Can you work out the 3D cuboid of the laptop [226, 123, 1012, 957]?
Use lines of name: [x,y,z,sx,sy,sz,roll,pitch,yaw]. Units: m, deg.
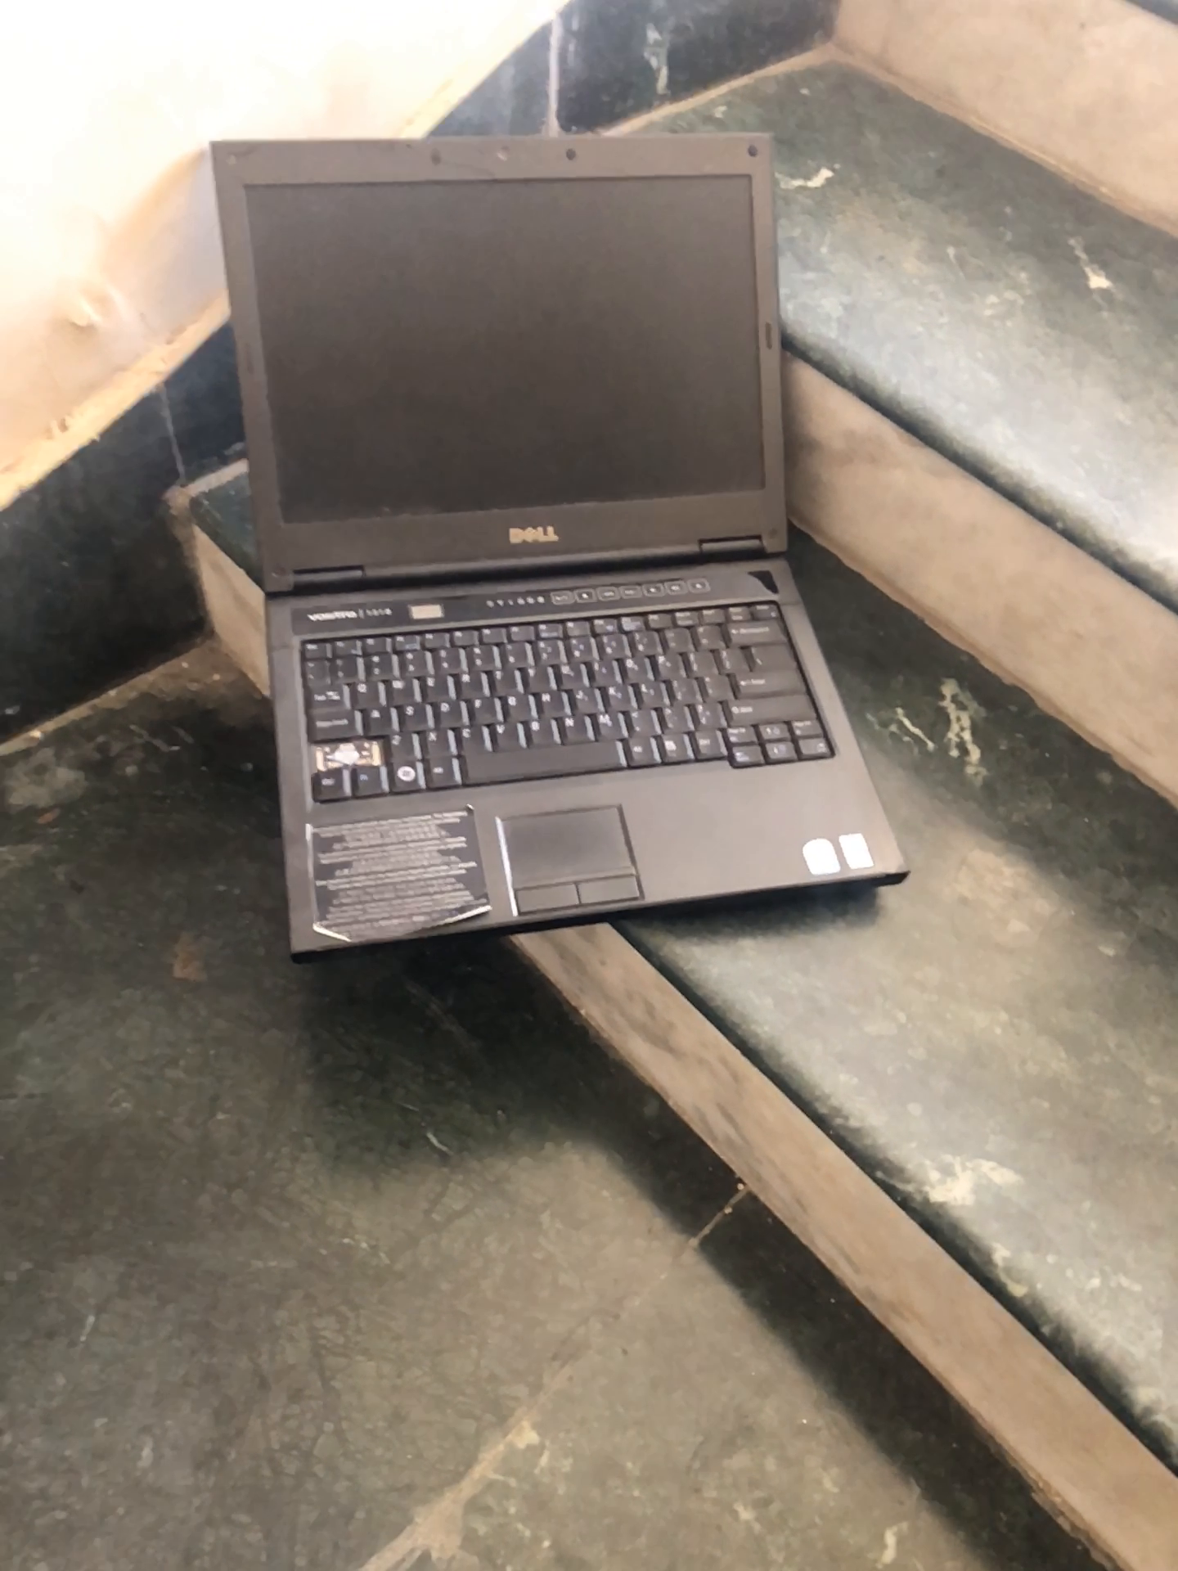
laptop: [-0.018,-0.148,0.670,0.302,0.169,0.388,-6,57,-11]
